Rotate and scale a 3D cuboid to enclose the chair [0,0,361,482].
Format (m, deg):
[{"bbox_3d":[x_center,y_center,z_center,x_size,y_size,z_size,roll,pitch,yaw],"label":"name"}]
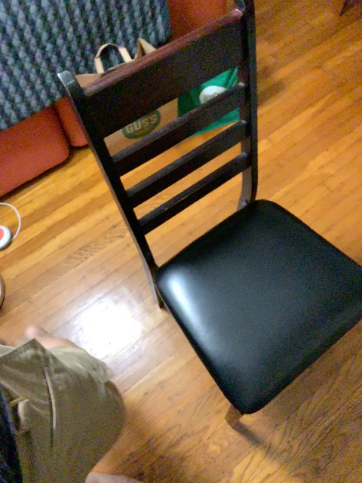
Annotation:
[{"bbox_3d":[0.161,0.054,0.796,0.490,0.868,0.551,-37,68,-14],"label":"chair"}]
